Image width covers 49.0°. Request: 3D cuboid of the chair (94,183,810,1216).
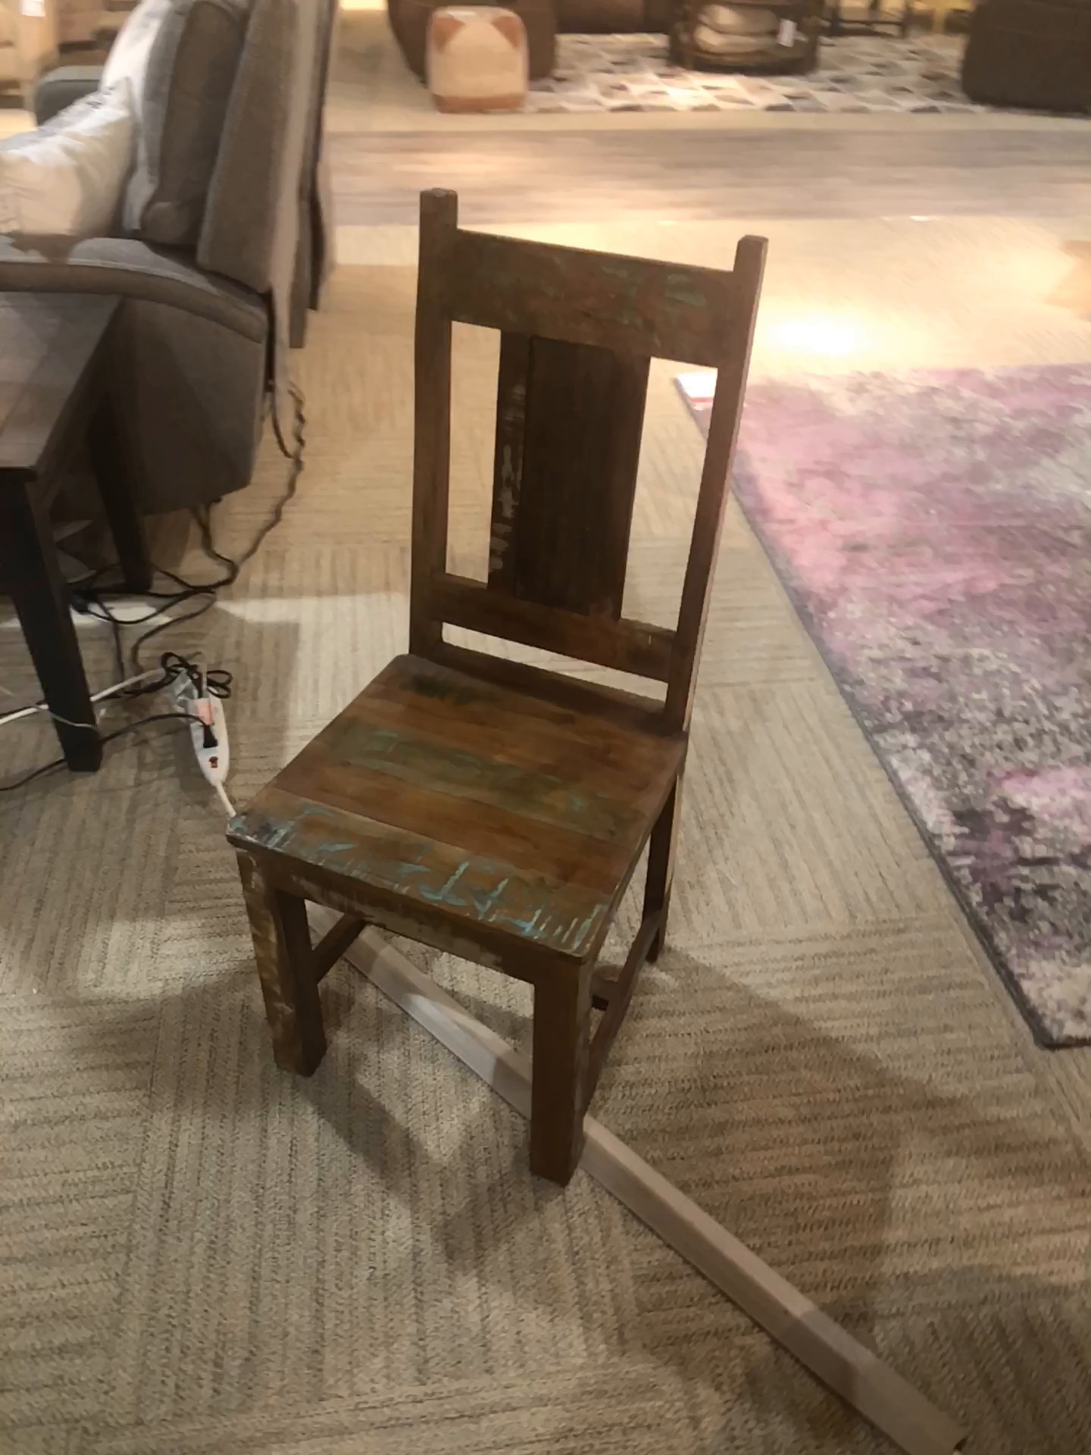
[{"bbox_3d":[-0.062,-0.010,1.417,0.476,1.024,0.513,16,40,18],"label":"chair"}]
